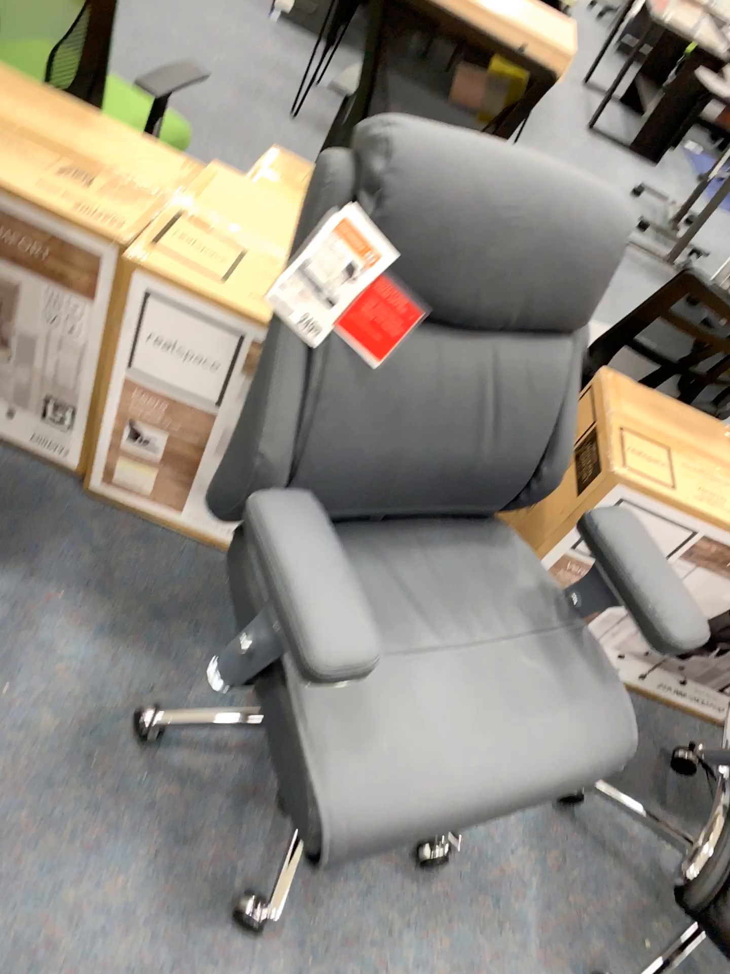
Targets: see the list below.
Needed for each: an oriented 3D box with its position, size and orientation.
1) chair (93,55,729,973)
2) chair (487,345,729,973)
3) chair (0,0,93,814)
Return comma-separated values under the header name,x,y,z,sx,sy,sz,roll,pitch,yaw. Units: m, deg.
name,x,y,z,sx,sy,sz,roll,pitch,yaw
chair,0.113,0.143,1.156,0.696,1.076,0.695,-2,52,-36
chair,0.933,0.535,1.232,0.764,1.095,0.788,40,44,9
chair,-0.954,-0.220,0.964,0.784,0.976,0.718,24,44,-8
